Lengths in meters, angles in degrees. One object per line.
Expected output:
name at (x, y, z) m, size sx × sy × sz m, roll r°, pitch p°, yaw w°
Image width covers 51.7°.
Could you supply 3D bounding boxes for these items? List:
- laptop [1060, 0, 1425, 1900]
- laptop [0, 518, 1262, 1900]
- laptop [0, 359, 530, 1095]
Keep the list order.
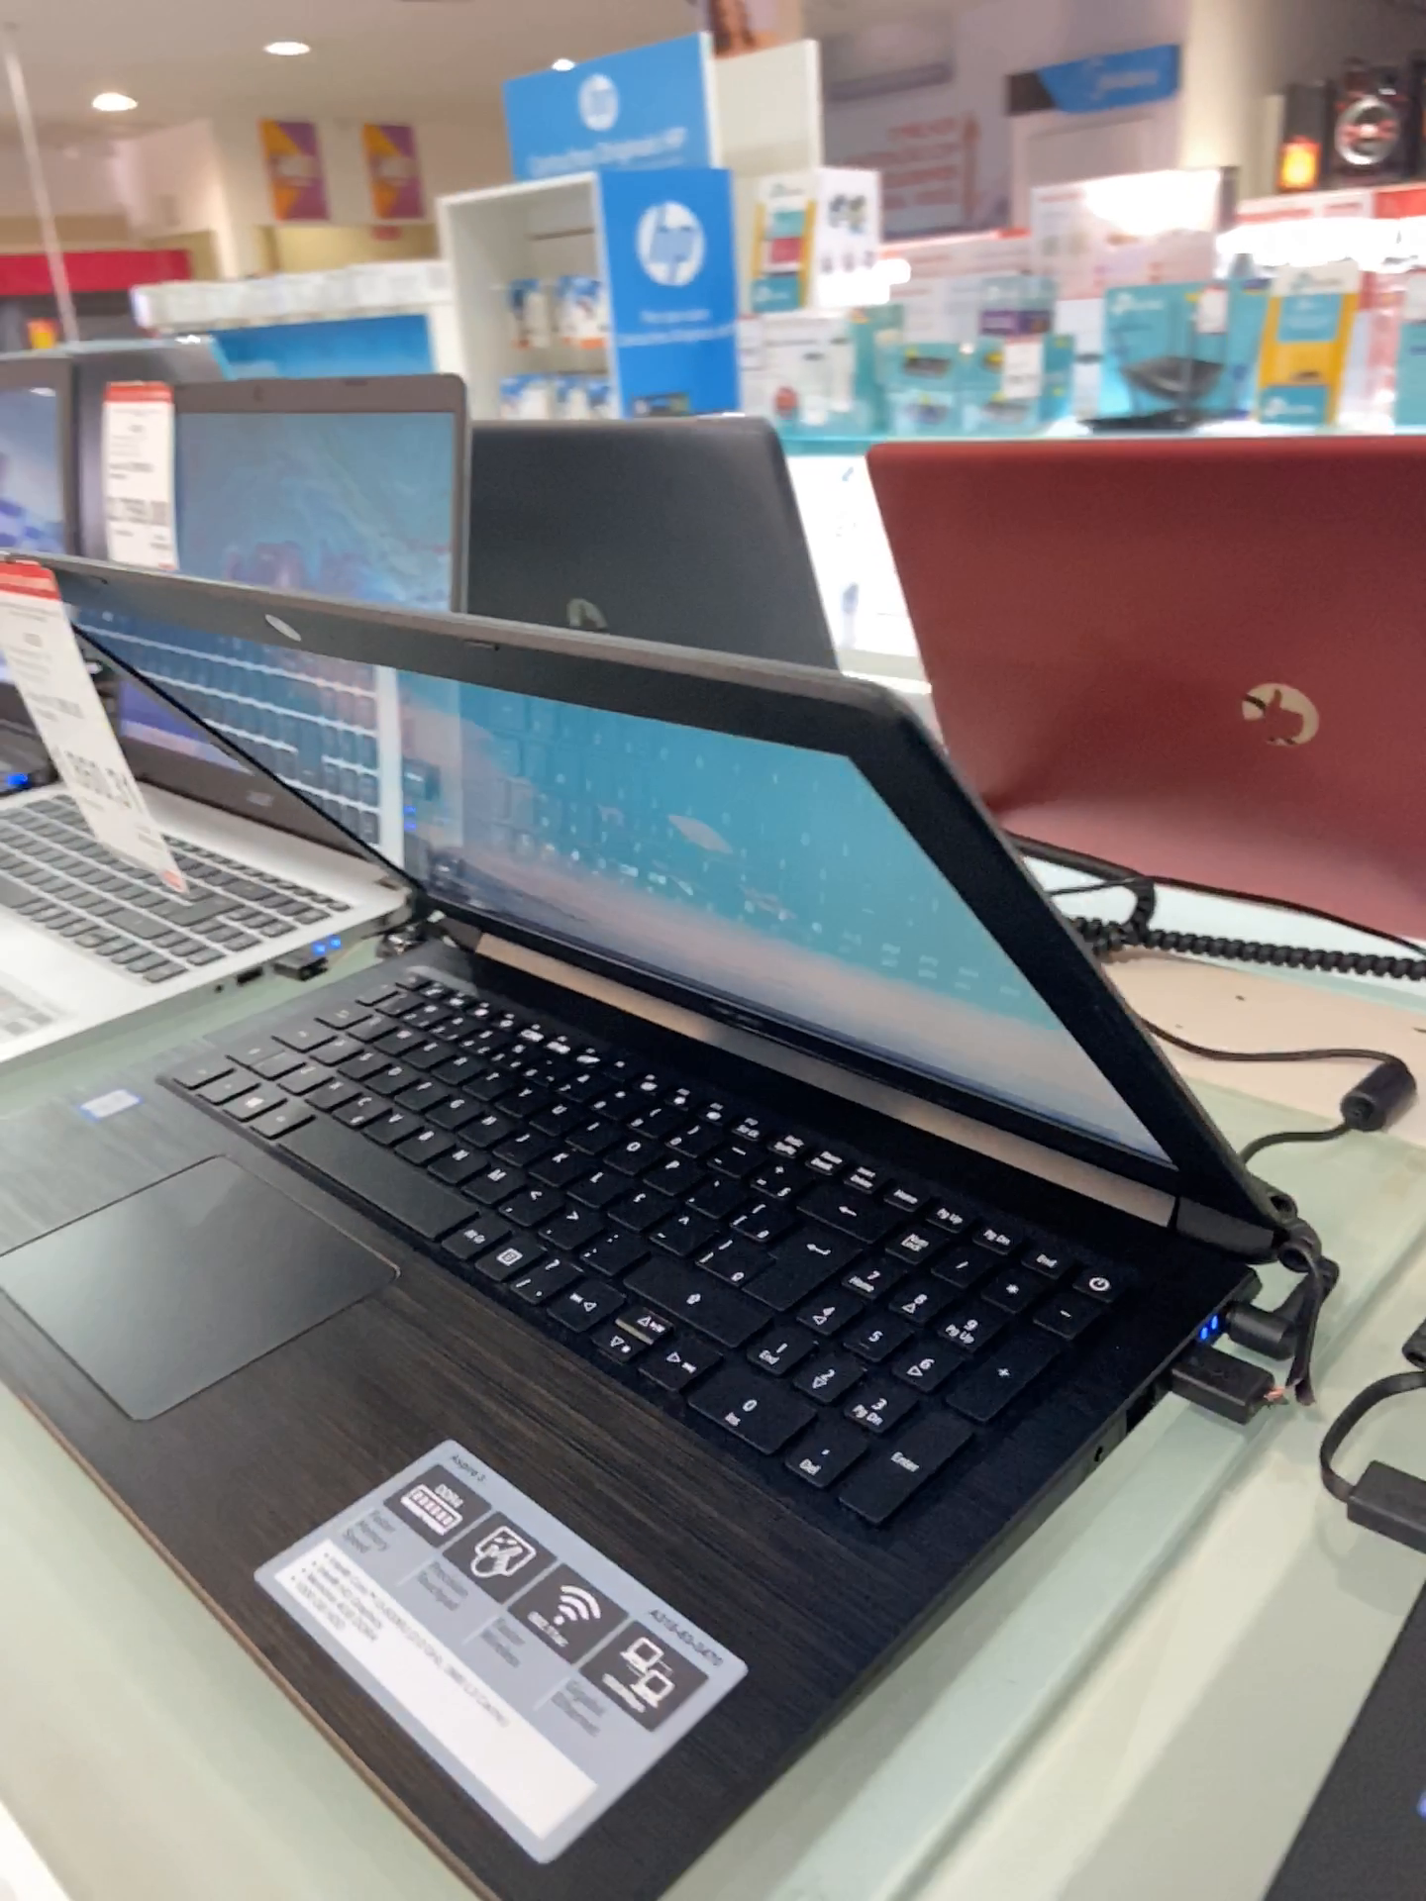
laptop at (0.306, 0.051, 0.126) m, size 0.431 × 0.246 × 0.285 m, roll 15°, pitch 31°, yaw 38°
laptop at (-0.085, -0.001, 0.409) m, size 0.234 × 0.186 × 0.374 m, roll -25°, pitch 30°, yaw -39°
laptop at (-0.346, -0.147, 0.739) m, size 0.303 × 0.233 × 0.396 m, roll -25°, pitch 29°, yaw -38°
